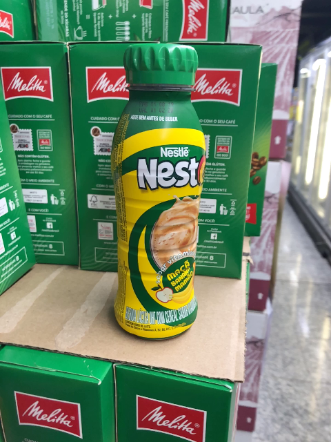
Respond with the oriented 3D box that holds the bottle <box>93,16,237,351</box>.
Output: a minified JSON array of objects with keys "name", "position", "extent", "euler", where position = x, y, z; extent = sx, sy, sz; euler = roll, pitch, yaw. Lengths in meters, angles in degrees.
[{"name":"bottle","position":[-0.004,-0.020,0.234],"extent":[0.060,0.179,0.060],"euler":[1,17,0]}]
